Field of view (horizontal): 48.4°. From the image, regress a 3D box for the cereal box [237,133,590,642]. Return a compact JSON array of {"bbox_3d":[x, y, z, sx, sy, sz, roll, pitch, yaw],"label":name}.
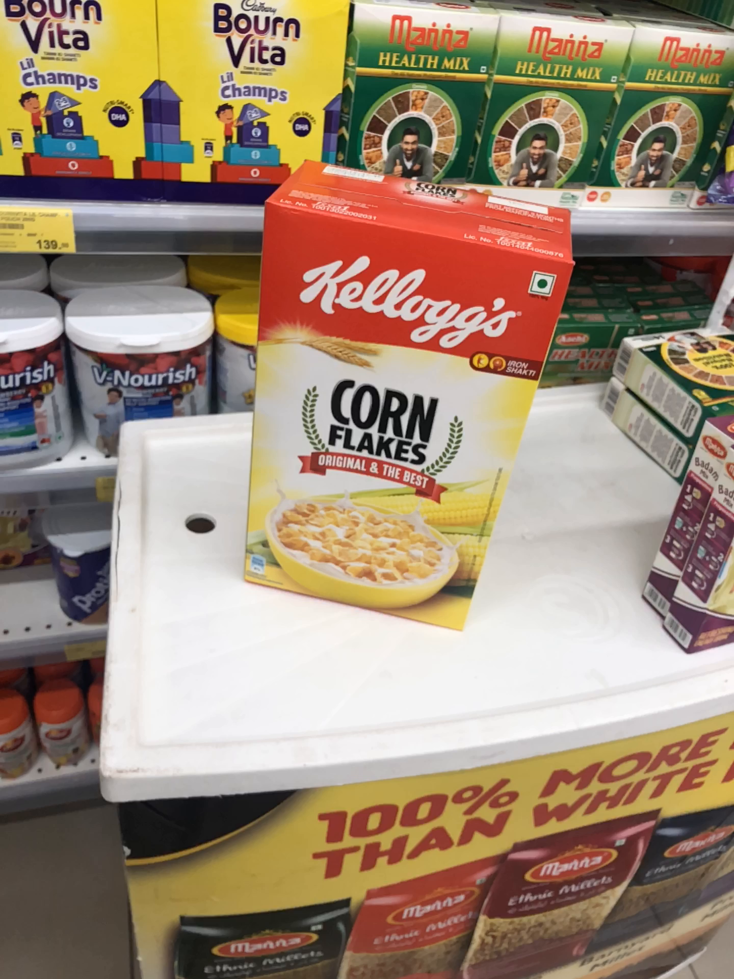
[{"bbox_3d":[0.019,-0.060,0.605,0.200,0.329,0.110,12,38,6],"label":"cereal box"}]
